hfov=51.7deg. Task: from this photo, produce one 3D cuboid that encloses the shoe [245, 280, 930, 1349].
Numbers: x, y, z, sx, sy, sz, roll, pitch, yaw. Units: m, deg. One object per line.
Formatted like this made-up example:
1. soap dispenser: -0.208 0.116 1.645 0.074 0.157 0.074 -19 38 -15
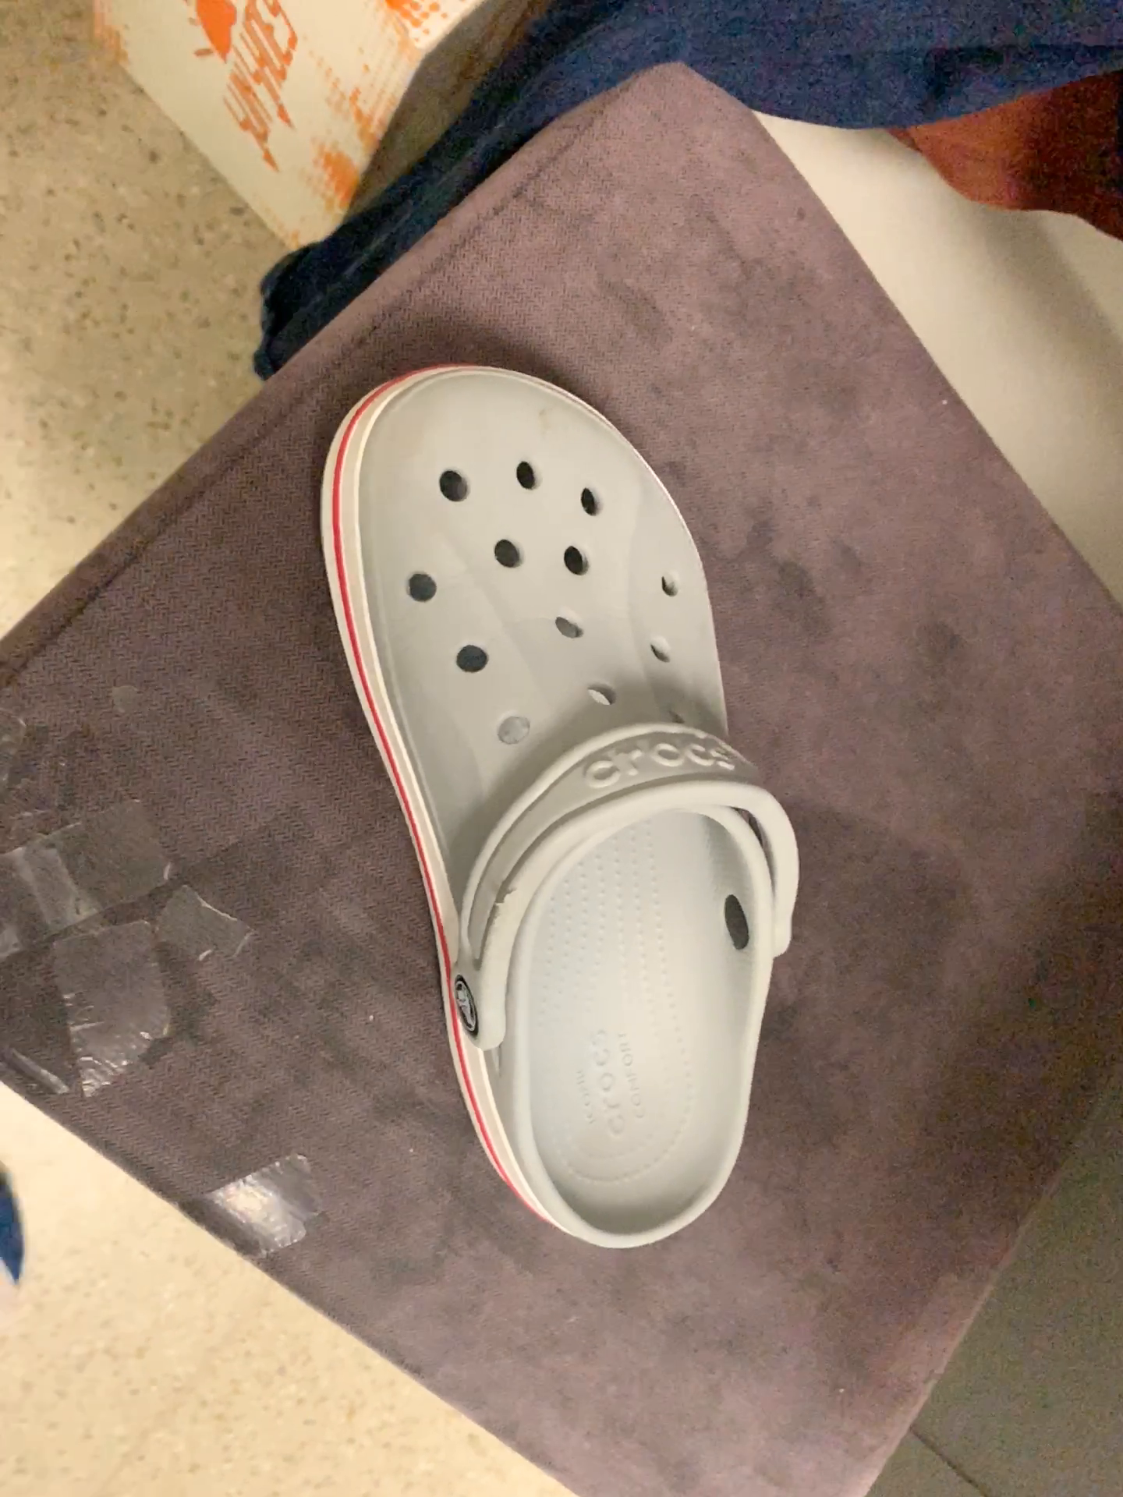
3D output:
1. shoe: 0.008 0.012 0.318 0.119 0.075 0.238 -16 98 -21
